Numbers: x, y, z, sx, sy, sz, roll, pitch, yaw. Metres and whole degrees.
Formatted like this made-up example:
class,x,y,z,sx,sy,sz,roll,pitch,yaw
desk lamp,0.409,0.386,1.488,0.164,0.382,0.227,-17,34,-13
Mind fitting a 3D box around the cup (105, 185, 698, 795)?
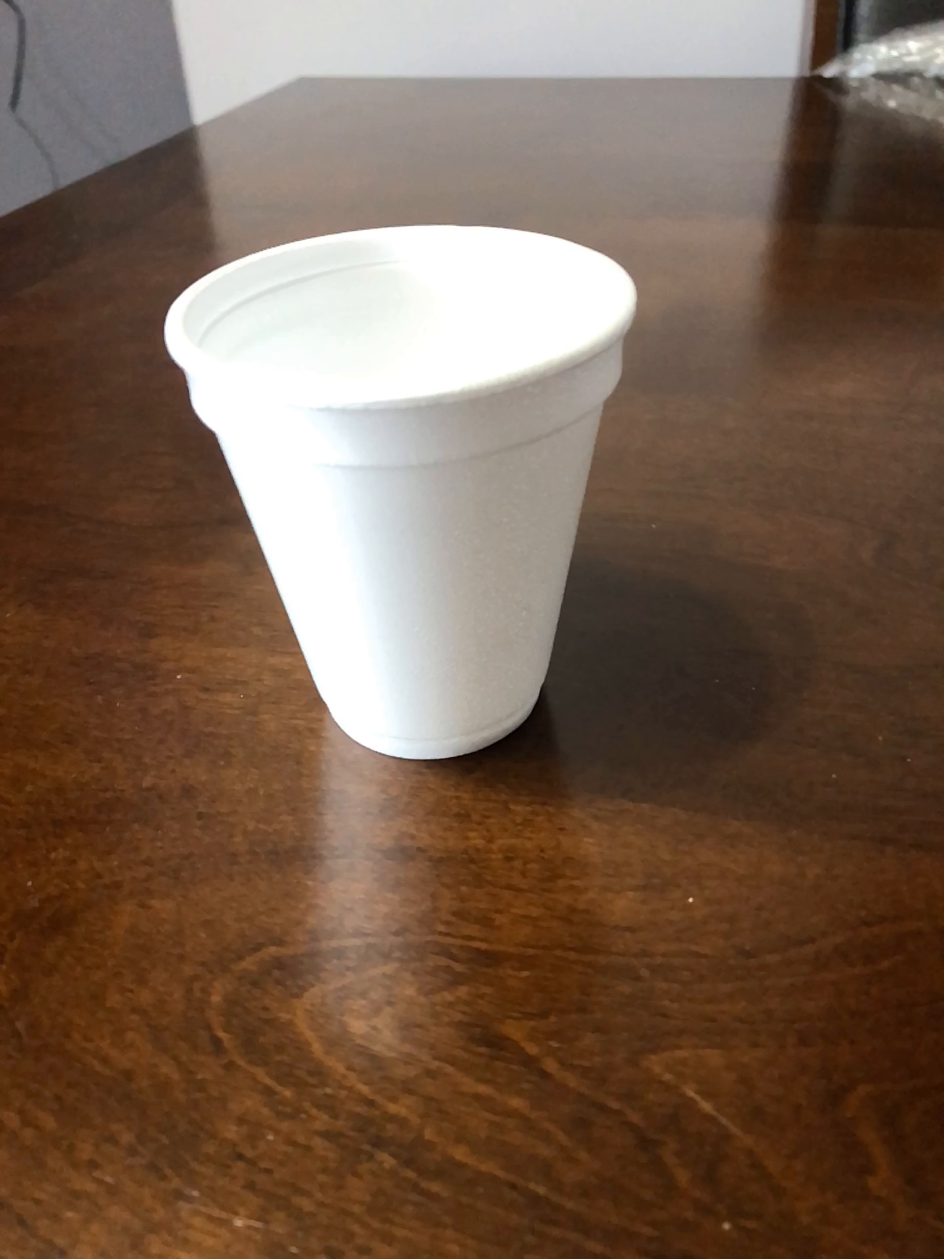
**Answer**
class,x,y,z,sx,sy,sz,roll,pitch,yaw
cup,-0.009,-0.029,0.198,0.080,0.080,0.080,-2,36,2
